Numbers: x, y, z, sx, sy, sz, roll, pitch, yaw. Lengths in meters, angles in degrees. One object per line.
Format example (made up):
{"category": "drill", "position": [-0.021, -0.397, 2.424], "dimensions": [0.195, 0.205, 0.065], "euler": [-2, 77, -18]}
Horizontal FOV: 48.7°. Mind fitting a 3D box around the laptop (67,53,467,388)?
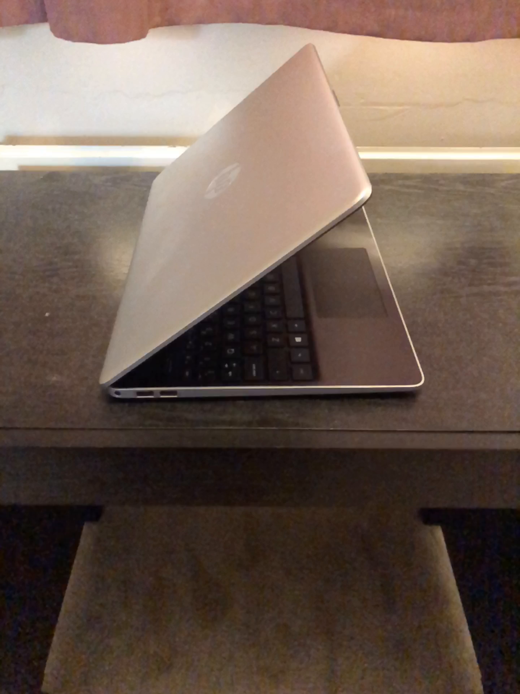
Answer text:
{"category": "laptop", "position": [0.003, -0.141, 0.523], "dimensions": [0.236, 0.141, 0.363], "euler": [0, 39, -3]}
